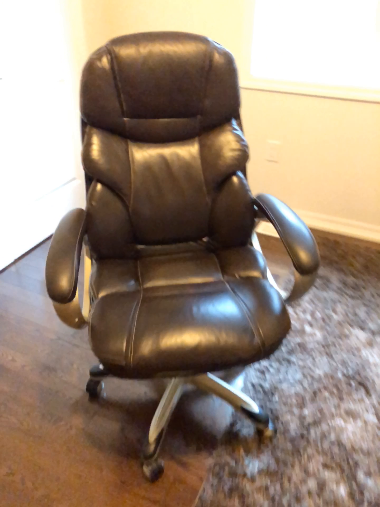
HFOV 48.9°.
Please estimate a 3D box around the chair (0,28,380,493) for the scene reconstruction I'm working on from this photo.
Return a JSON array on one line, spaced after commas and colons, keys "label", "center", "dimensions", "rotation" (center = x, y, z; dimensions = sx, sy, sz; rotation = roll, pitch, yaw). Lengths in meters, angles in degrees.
[{"label": "chair", "center": [-0.048, 0.005, 1.260], "dimensions": [0.730, 1.135, 0.743], "rotation": [-3, 33, -5]}]
